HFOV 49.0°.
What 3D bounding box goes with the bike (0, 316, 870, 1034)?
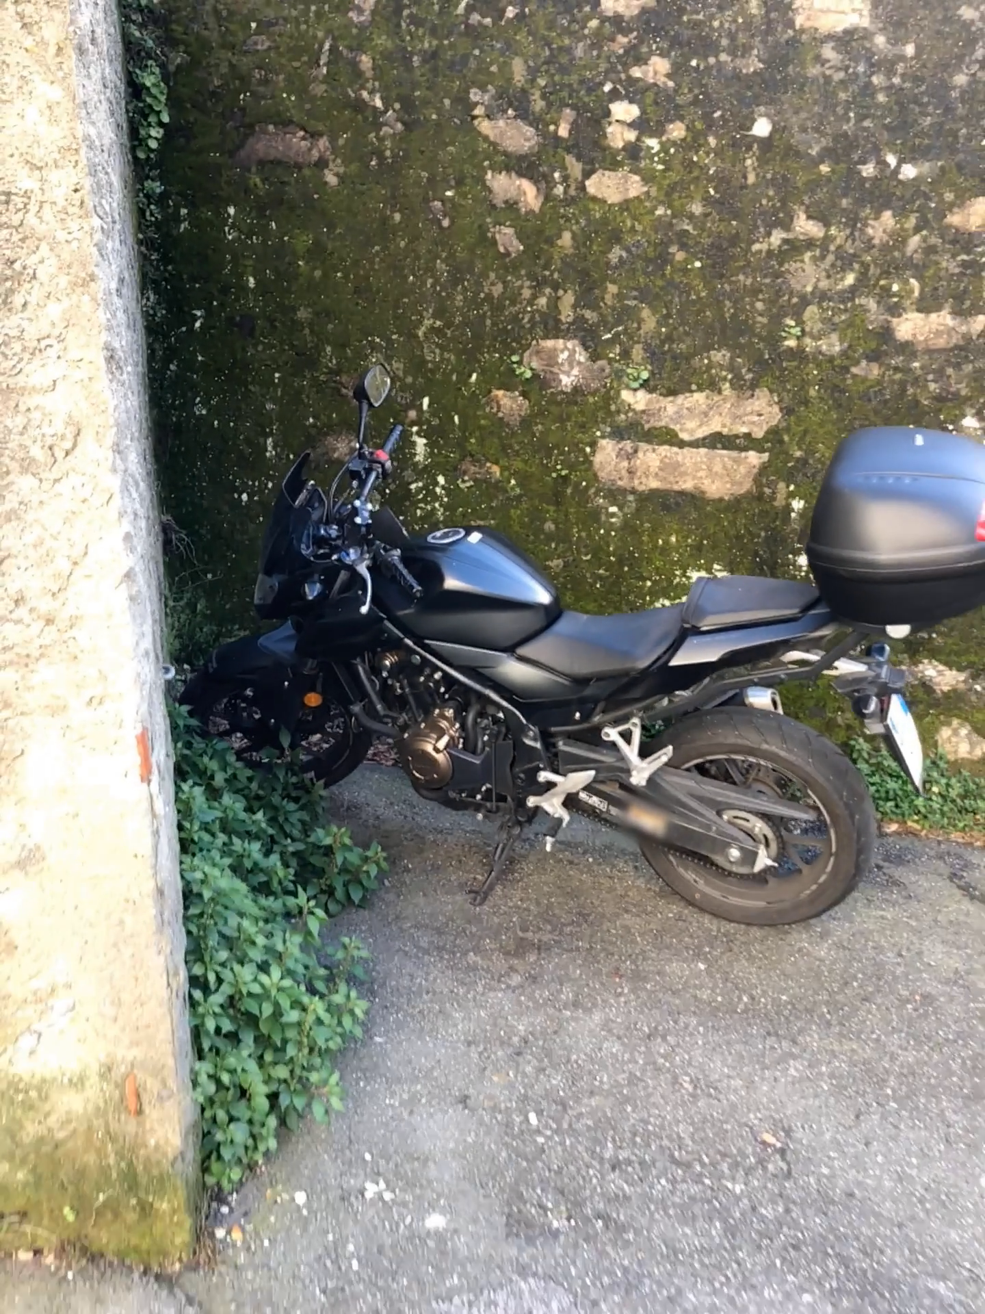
[{"bbox_3d":[-0.060,-0.042,2.620,1.783,1.199,0.713,9,16,10],"label":"bike"}]
